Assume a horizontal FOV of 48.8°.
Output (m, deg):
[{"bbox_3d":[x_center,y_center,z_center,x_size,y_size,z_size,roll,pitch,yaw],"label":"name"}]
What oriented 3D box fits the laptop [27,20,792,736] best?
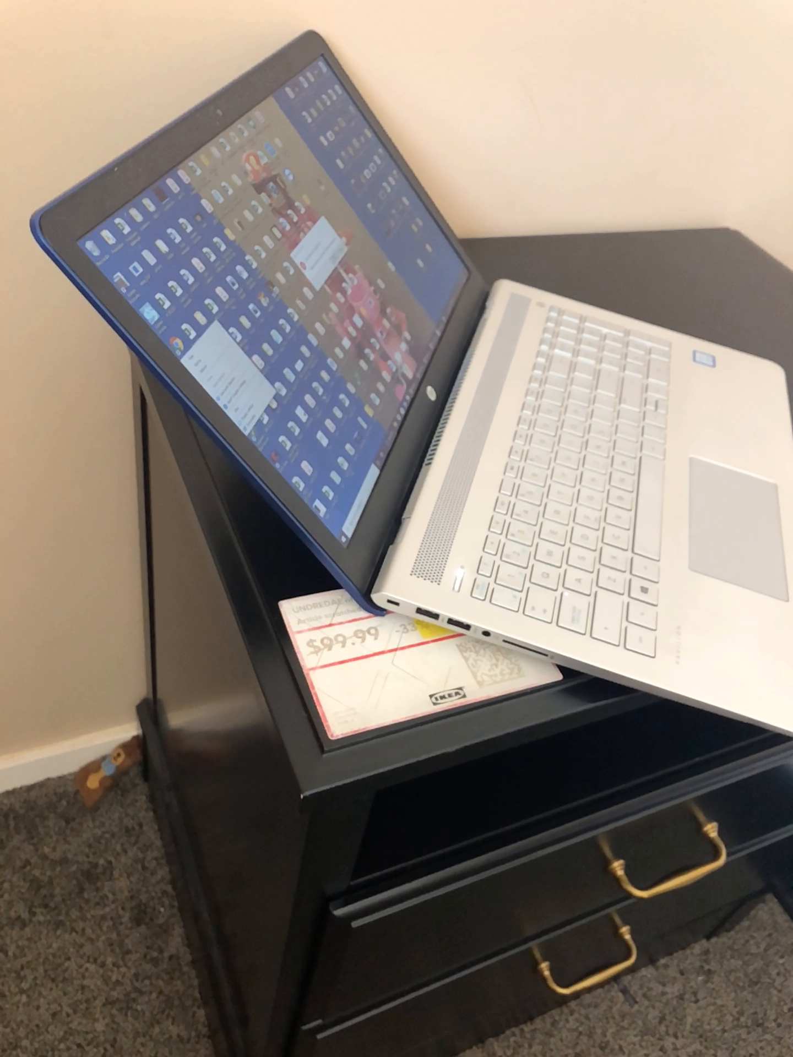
[{"bbox_3d":[0.076,-0.130,0.521,0.400,0.141,0.368,18,43,3],"label":"laptop"}]
